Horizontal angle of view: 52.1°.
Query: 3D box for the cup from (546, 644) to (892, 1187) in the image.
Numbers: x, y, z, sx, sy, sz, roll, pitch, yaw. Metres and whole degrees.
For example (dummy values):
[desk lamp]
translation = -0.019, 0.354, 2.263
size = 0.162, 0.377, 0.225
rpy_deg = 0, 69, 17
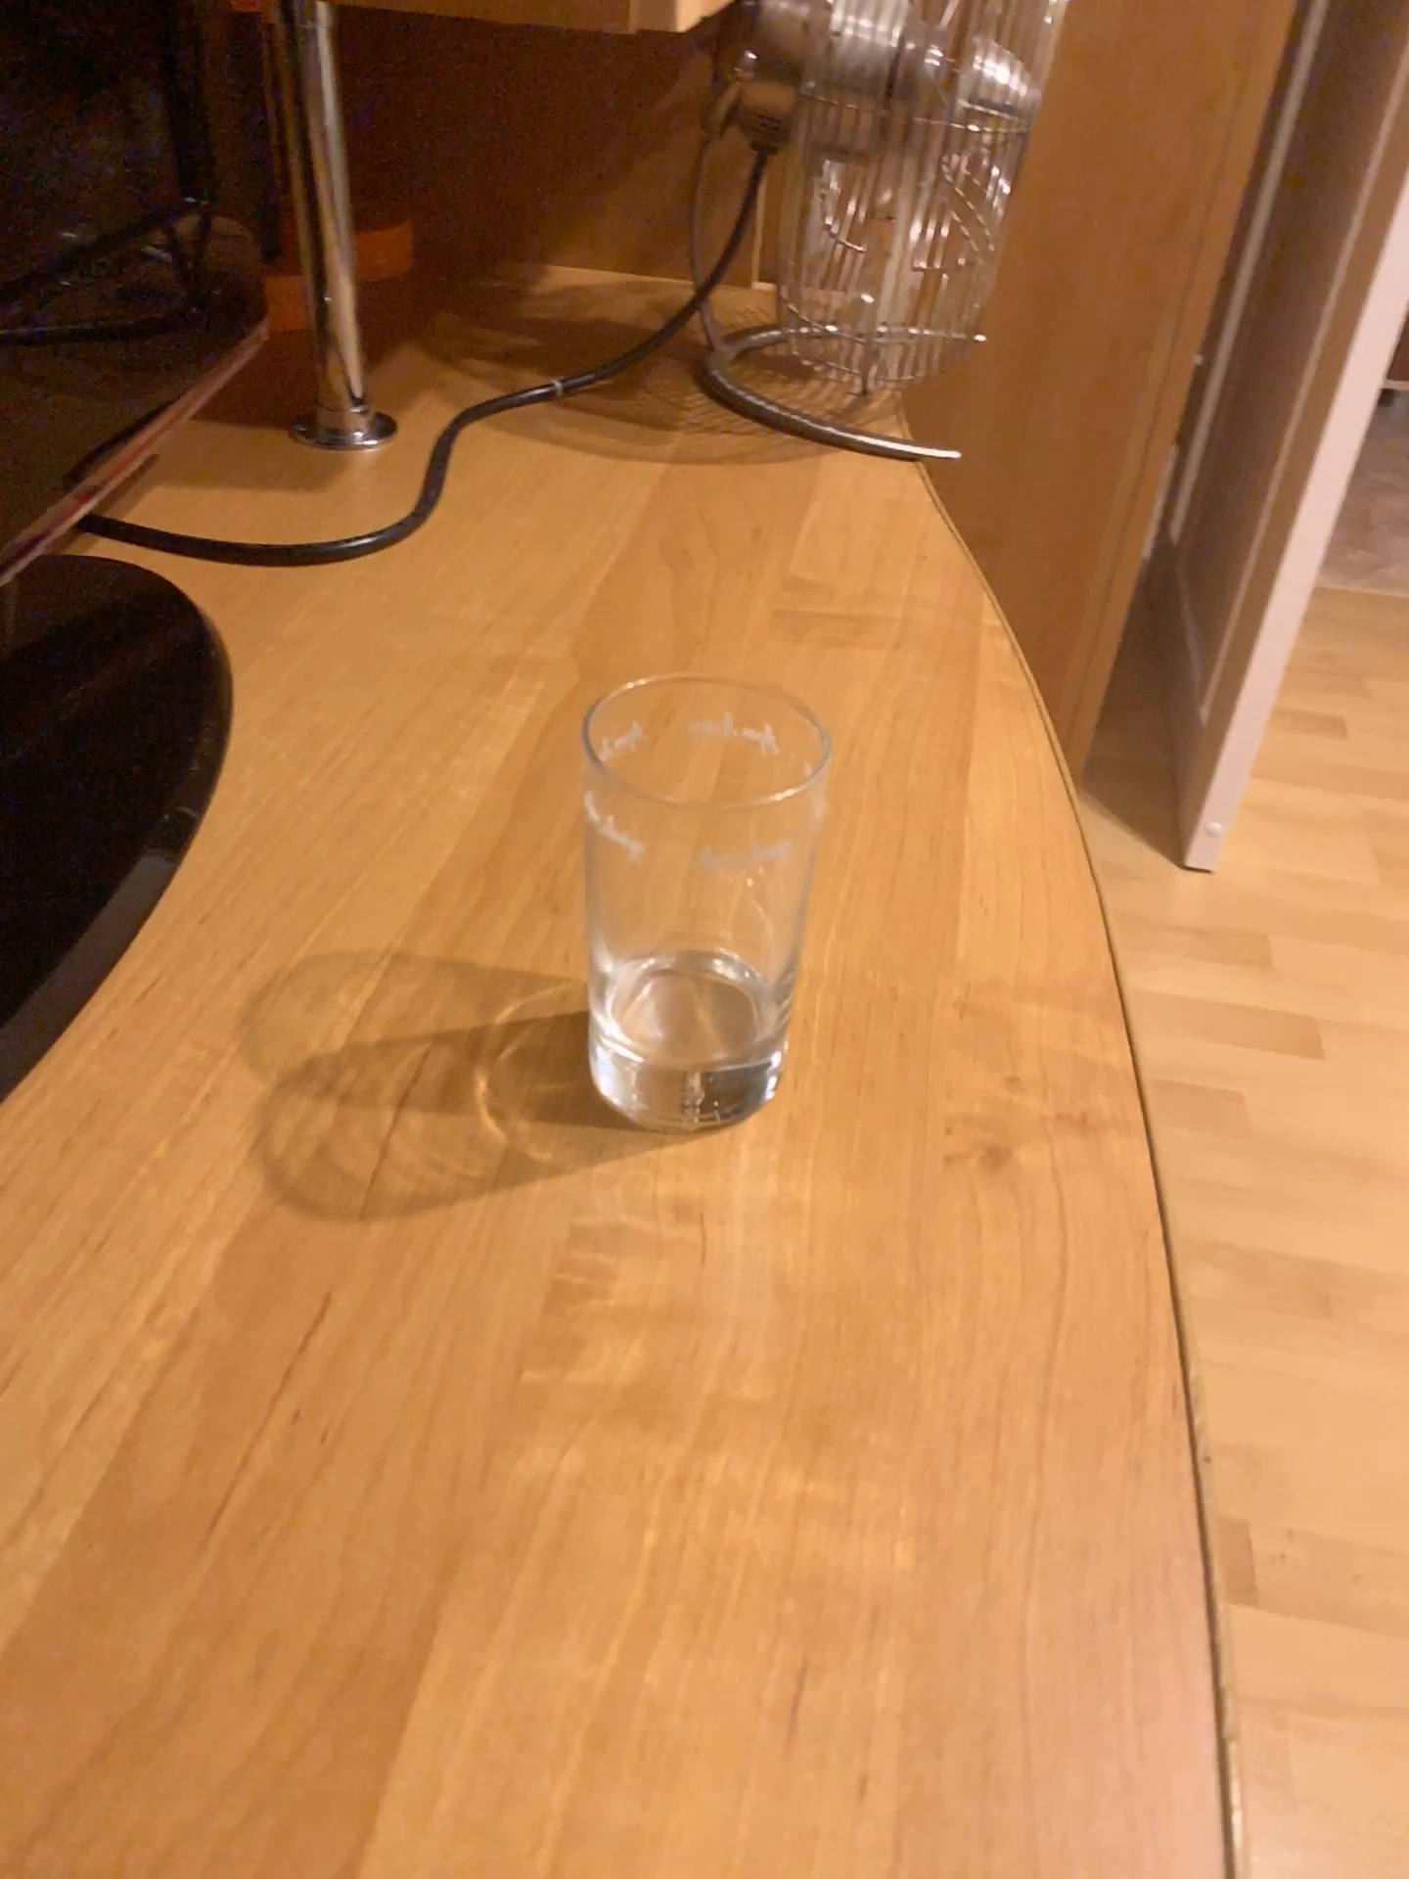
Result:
[cup]
translation = 0.002, -0.005, 0.332
size = 0.060, 0.099, 0.061
rpy_deg = 3, 39, -2
